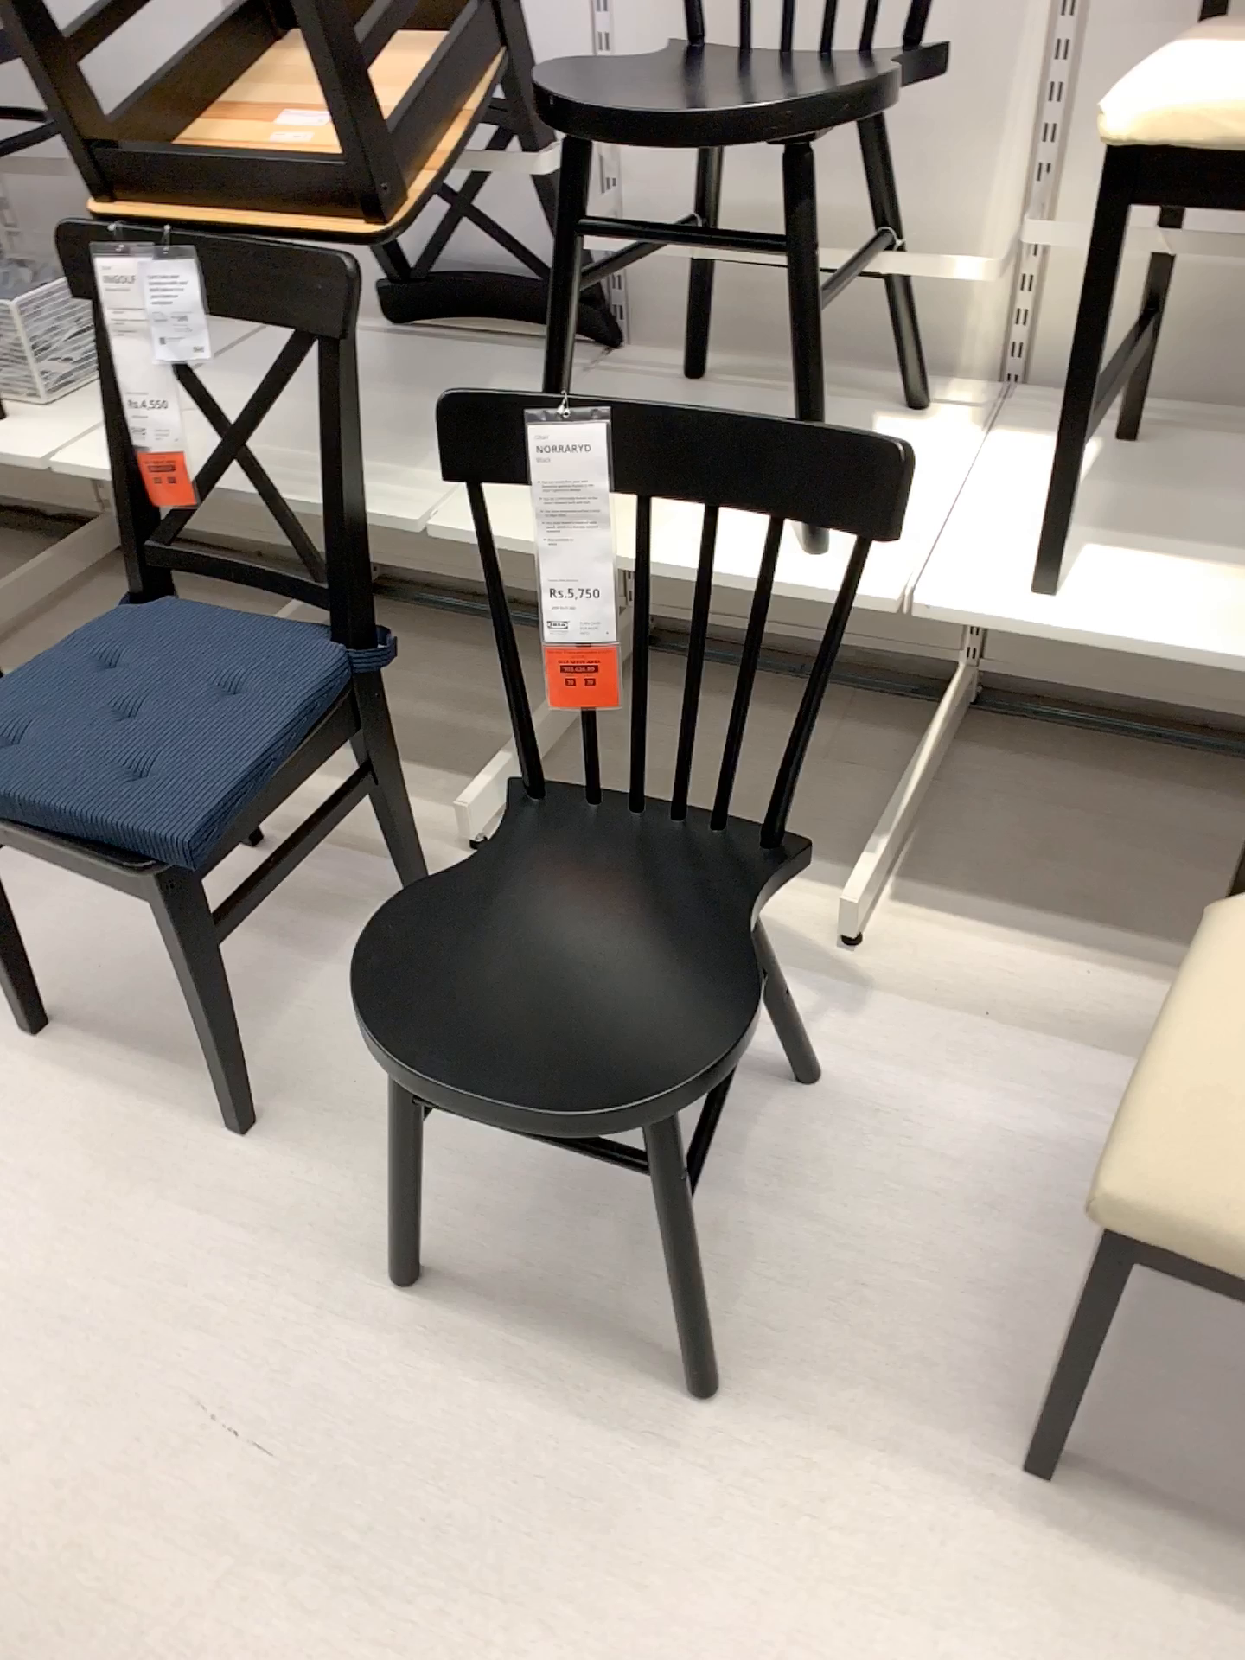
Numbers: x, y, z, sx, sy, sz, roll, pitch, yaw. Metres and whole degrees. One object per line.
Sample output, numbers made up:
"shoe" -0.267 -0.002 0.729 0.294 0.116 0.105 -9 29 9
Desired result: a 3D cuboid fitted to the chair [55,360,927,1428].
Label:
"chair" -0.045 0.061 1.211 0.471 0.787 0.522 14 44 20
